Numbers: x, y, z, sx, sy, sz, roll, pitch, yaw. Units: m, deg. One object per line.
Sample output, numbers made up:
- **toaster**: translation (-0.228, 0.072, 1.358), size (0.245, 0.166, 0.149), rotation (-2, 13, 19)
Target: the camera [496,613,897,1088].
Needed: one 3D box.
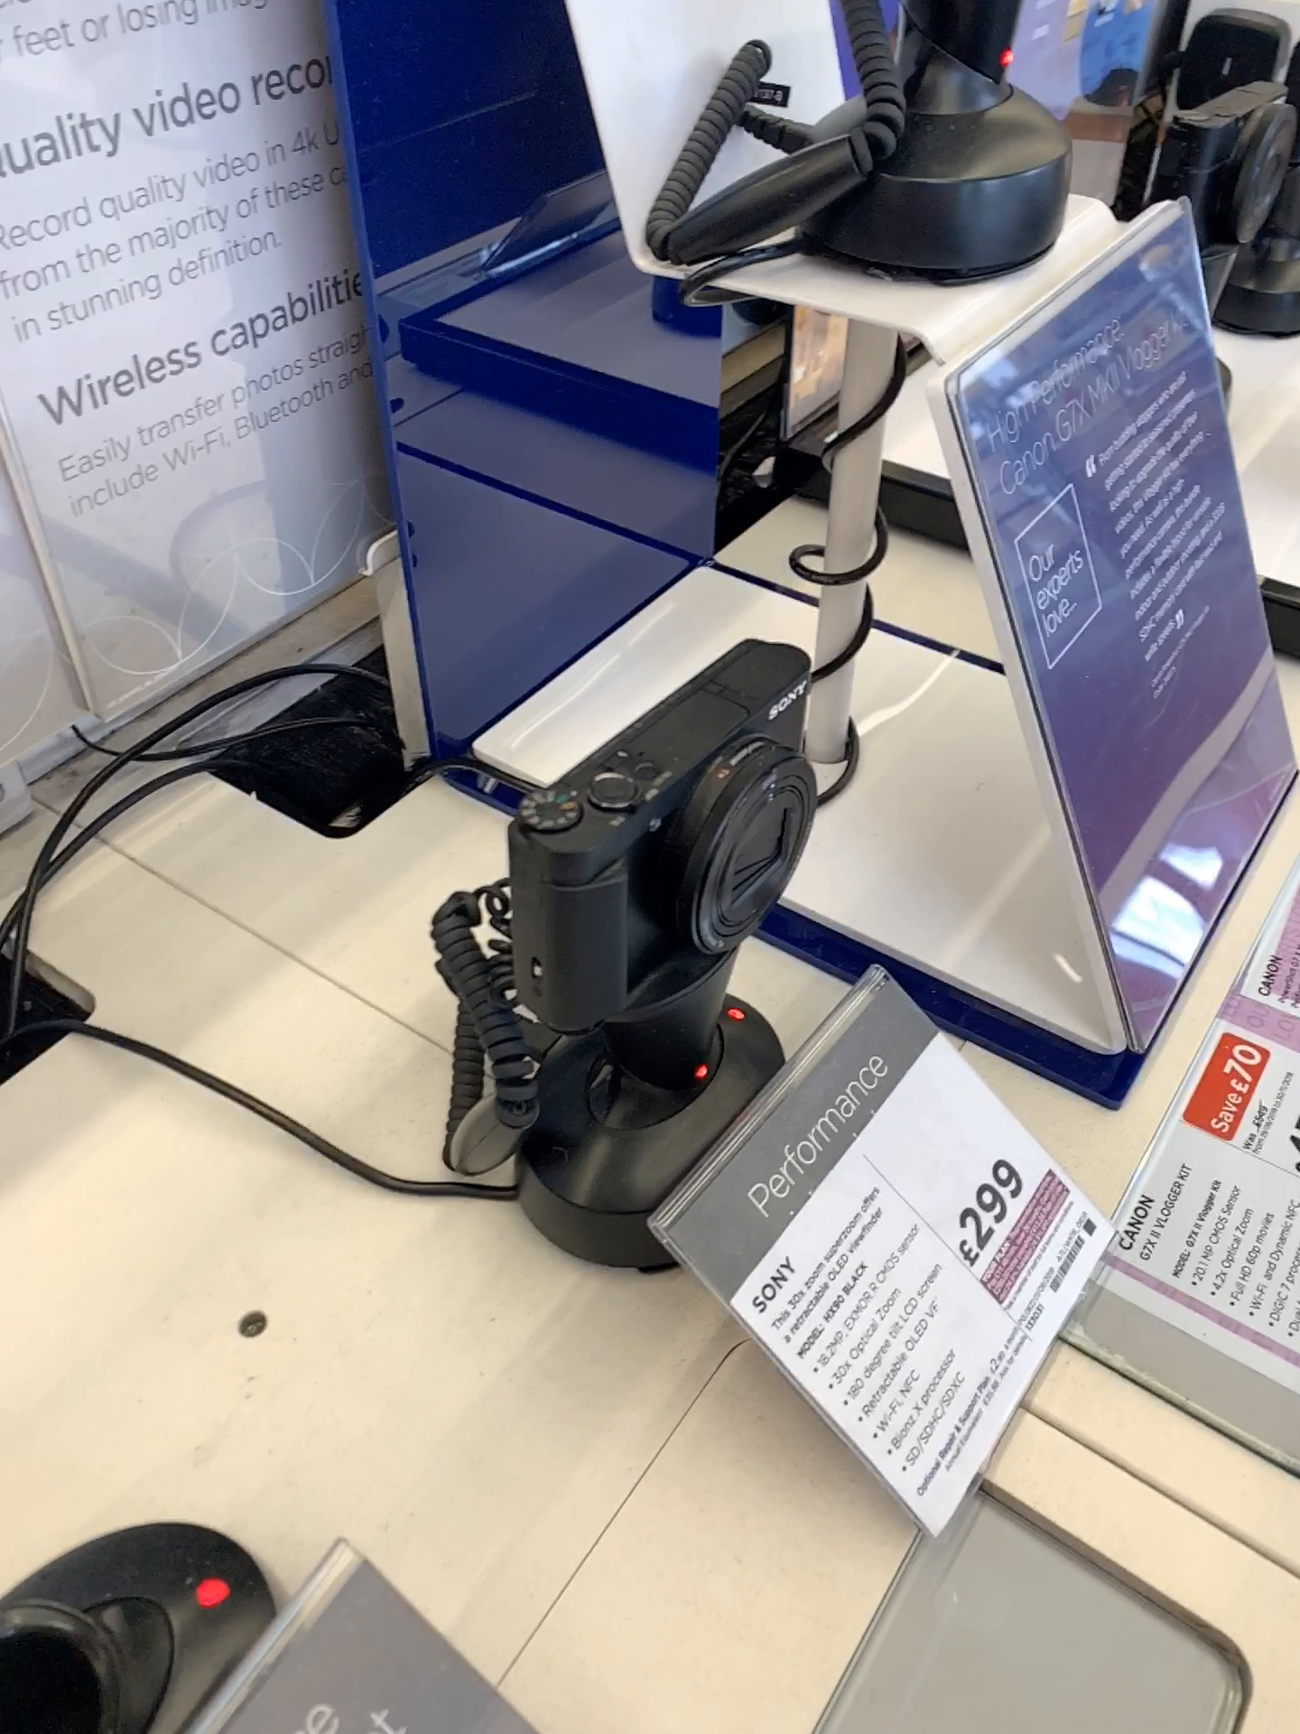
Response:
- **camera**: translation (0.013, -0.008, 0.318), size (0.040, 0.059, 0.101), rotation (27, 47, 25)
